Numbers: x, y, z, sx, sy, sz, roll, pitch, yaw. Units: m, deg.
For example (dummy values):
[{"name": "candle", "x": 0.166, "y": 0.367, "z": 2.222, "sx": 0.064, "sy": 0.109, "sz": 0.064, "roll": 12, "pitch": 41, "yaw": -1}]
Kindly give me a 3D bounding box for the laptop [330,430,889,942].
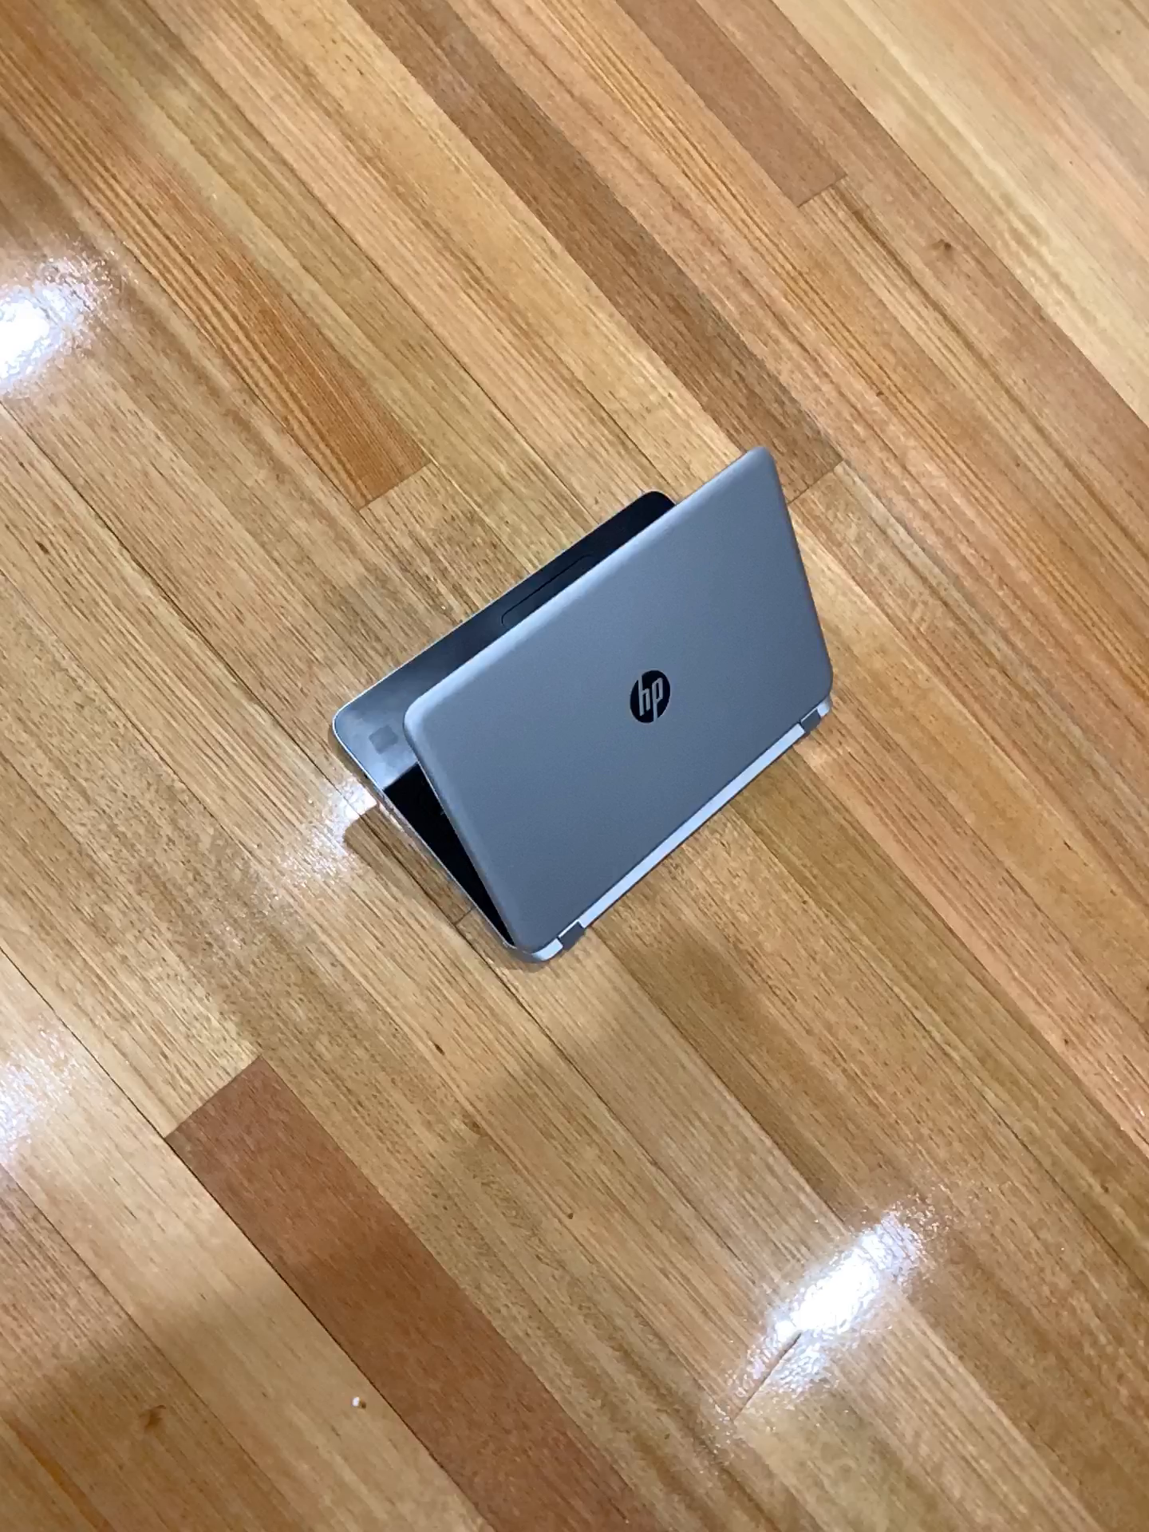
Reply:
[{"name": "laptop", "x": 0.029, "y": -0.061, "z": 0.855, "sx": 0.333, "sy": 0.102, "sz": 0.209, "roll": -39, "pitch": 90, "yaw": -22}]
